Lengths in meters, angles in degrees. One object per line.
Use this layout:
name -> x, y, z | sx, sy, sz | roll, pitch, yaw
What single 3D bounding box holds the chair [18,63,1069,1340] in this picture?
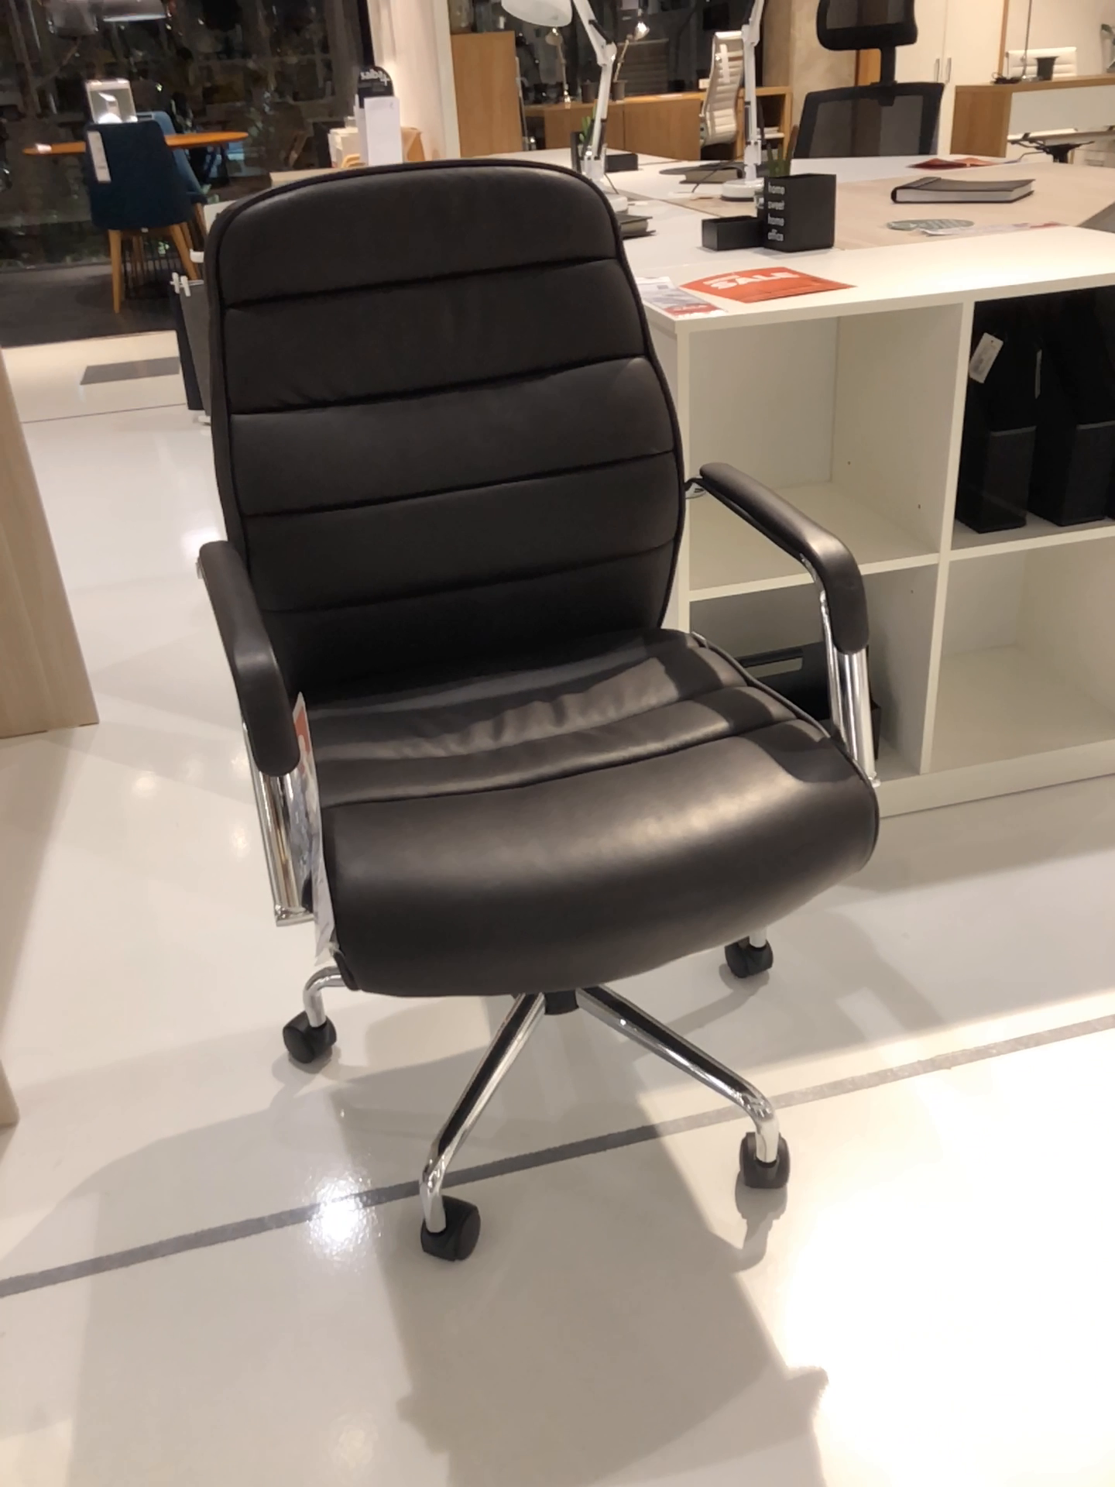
chair -> -0.029, -0.080, 1.193 | 0.650, 0.973, 0.574 | -12, 29, -14
